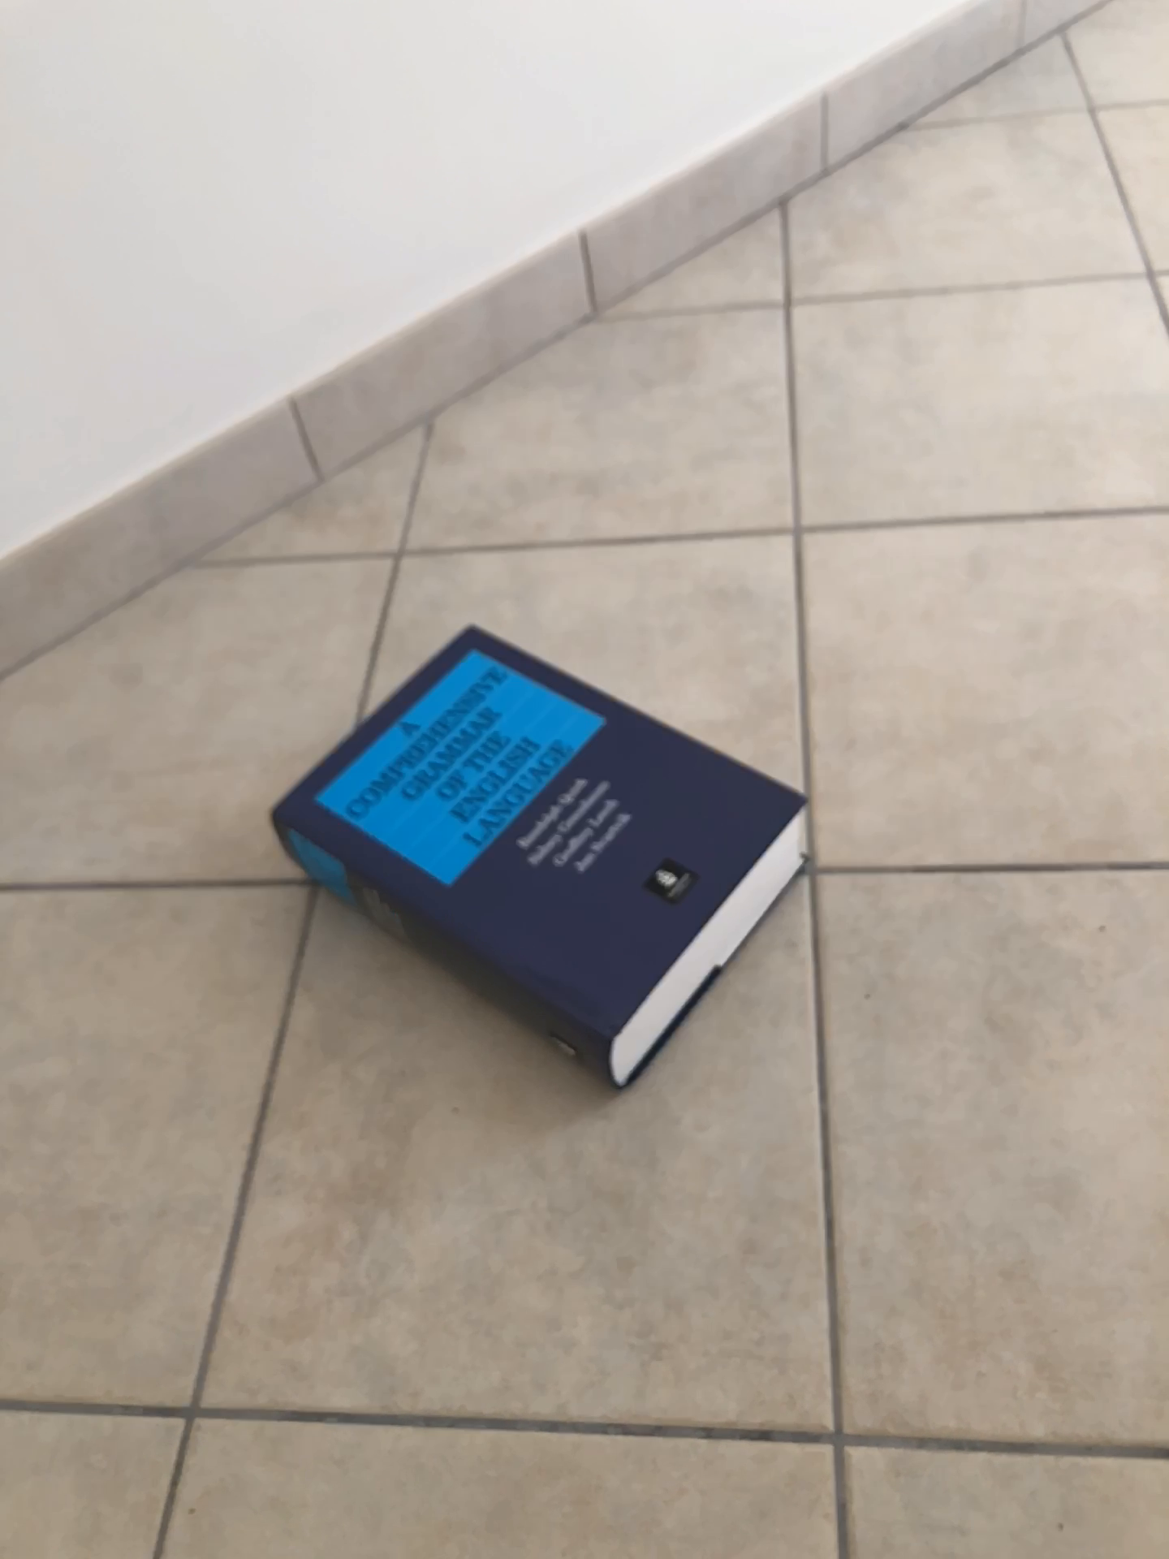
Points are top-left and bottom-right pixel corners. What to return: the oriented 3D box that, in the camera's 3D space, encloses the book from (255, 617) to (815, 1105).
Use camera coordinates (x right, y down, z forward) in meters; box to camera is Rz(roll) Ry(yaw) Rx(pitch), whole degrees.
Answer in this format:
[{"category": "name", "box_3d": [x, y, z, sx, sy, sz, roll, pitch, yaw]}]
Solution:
[{"category": "book", "box_3d": [-0.028, 0.033, 0.741, 0.257, 0.067, 0.181, 28, 61, 28]}]
